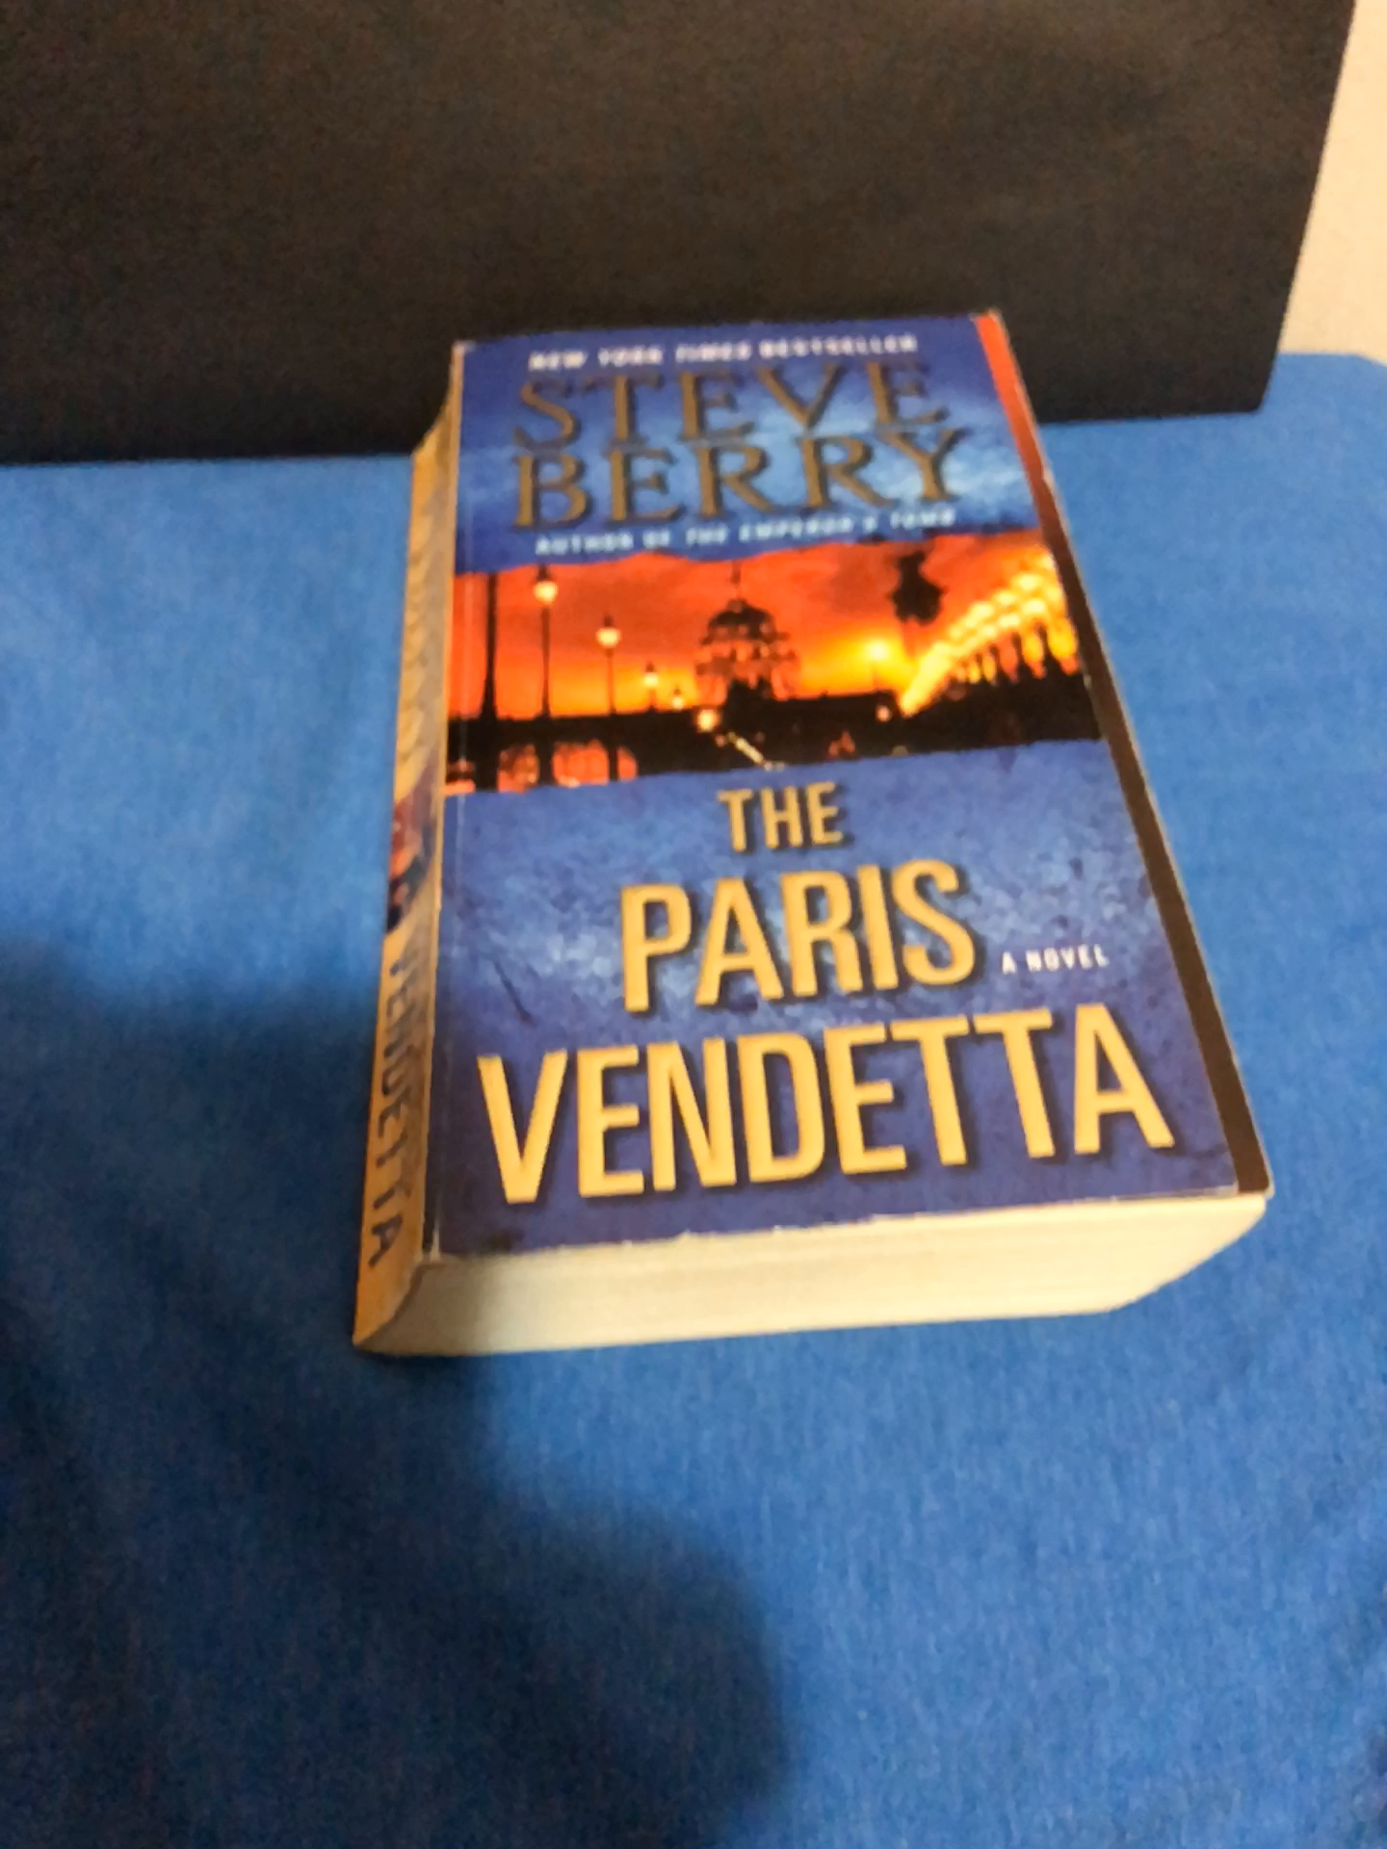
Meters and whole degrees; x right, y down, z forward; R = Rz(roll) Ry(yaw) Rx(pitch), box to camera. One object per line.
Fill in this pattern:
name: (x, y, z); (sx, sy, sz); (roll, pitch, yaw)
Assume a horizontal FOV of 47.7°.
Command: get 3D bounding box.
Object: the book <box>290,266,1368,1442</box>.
book: (0.006, -0.029, 0.253); (0.120, 0.050, 0.201); (-2, 52, -7)
